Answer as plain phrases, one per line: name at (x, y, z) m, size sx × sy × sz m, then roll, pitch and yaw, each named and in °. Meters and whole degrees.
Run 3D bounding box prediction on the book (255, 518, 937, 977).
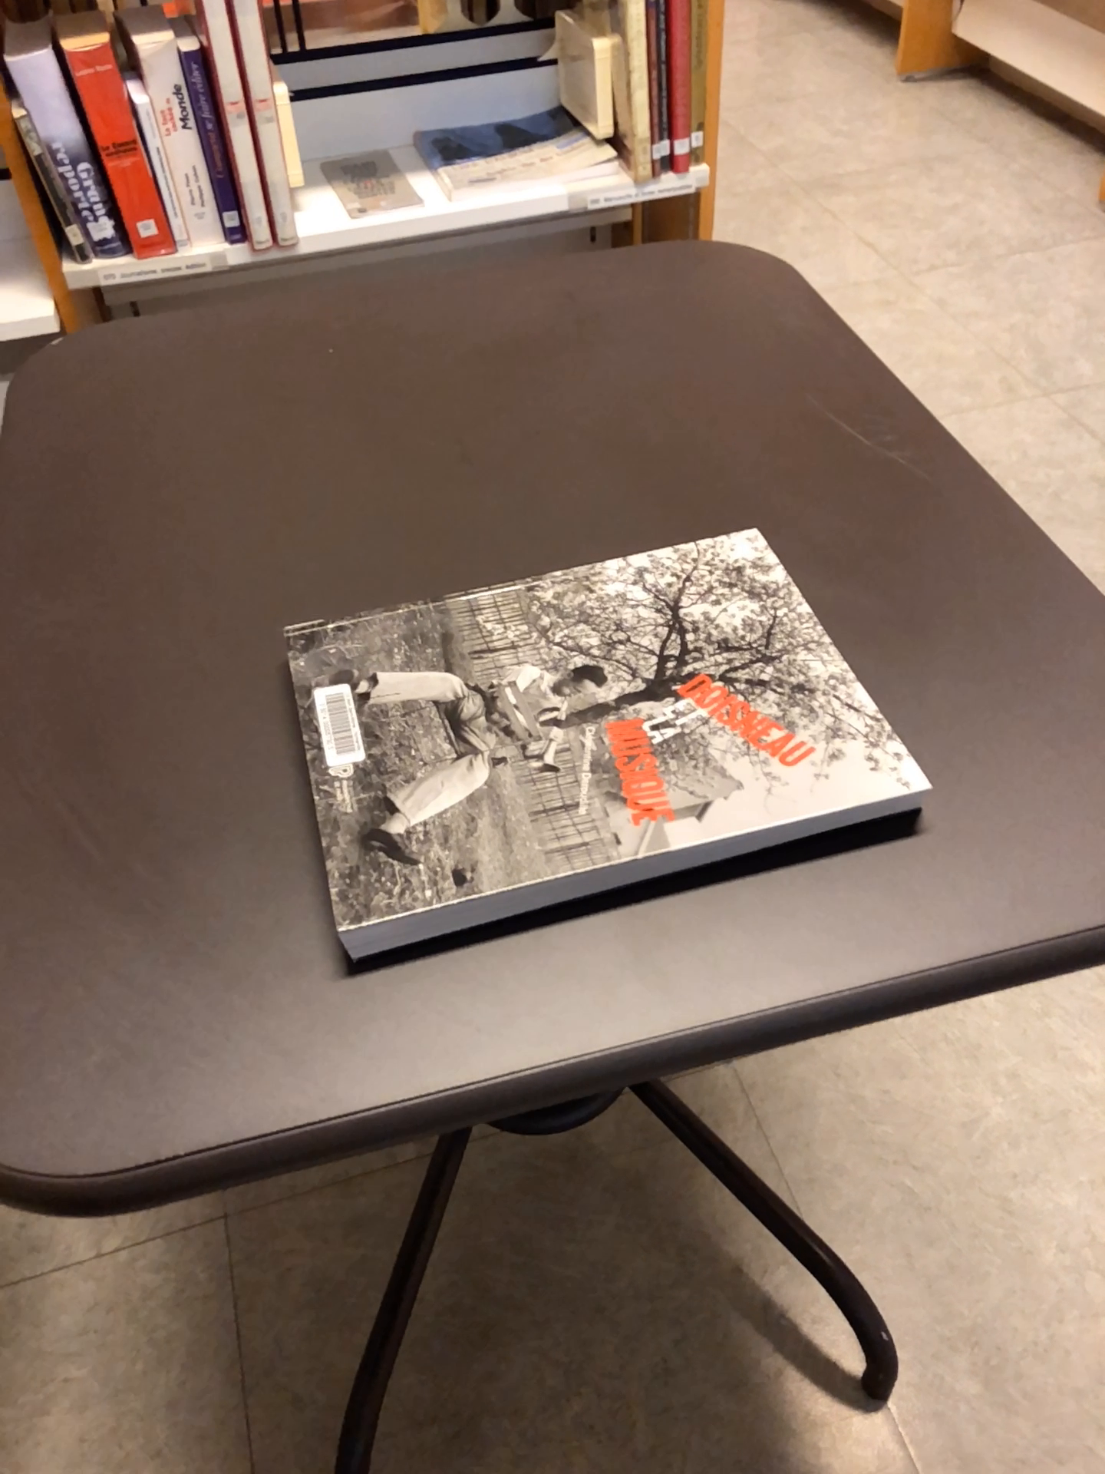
book at (0.007, -0.011, 0.536) m, size 0.250 × 0.030 × 0.195 m, roll -12°, pitch 45°, yaw -11°
